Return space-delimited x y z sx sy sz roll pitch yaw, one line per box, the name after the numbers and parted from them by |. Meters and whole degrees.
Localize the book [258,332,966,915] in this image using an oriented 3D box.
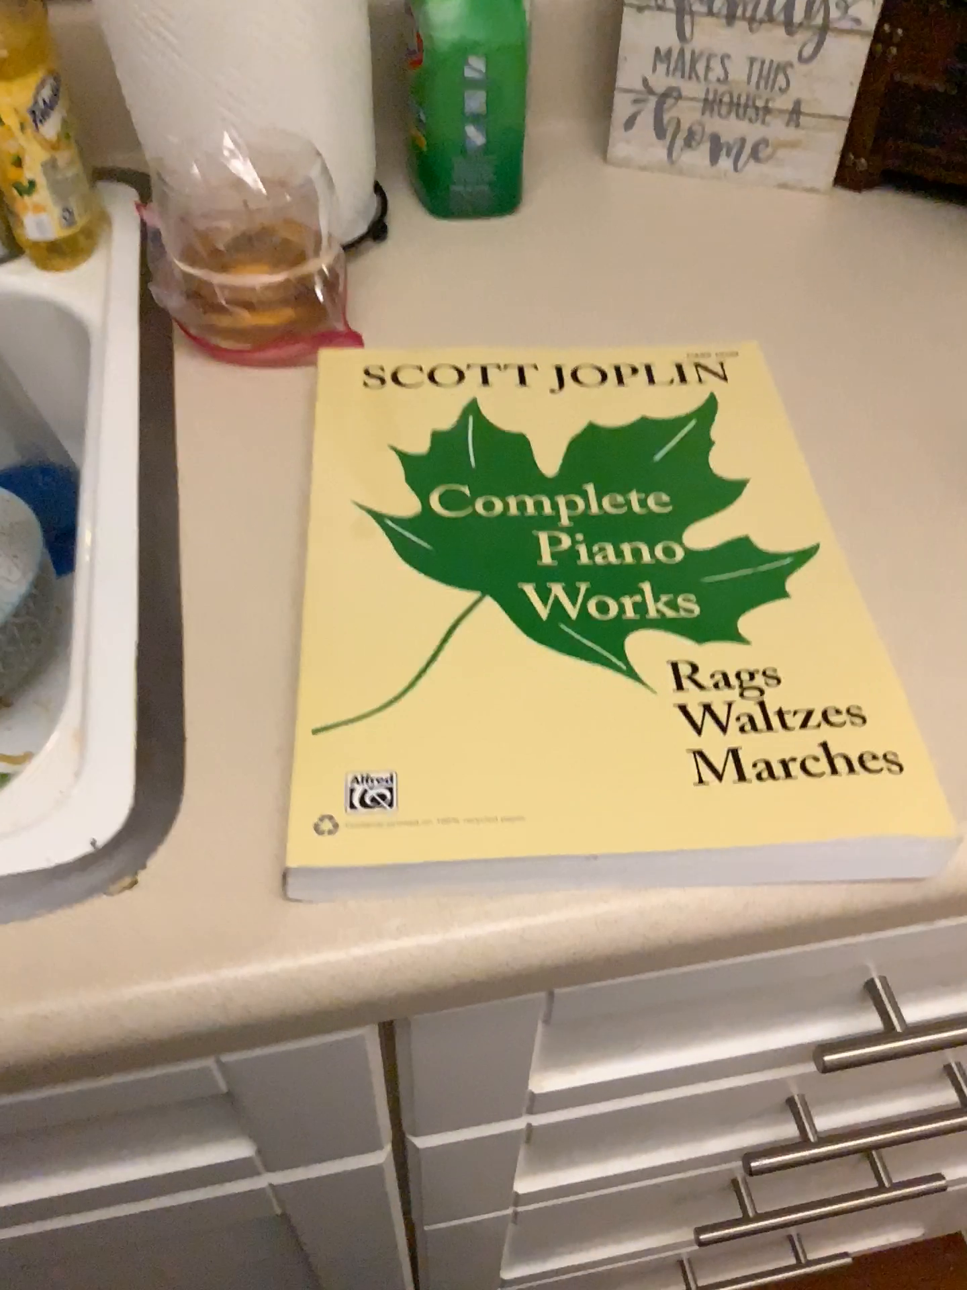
0.036 -0.037 0.479 0.240 0.030 0.320 -1 48 -3 | book
